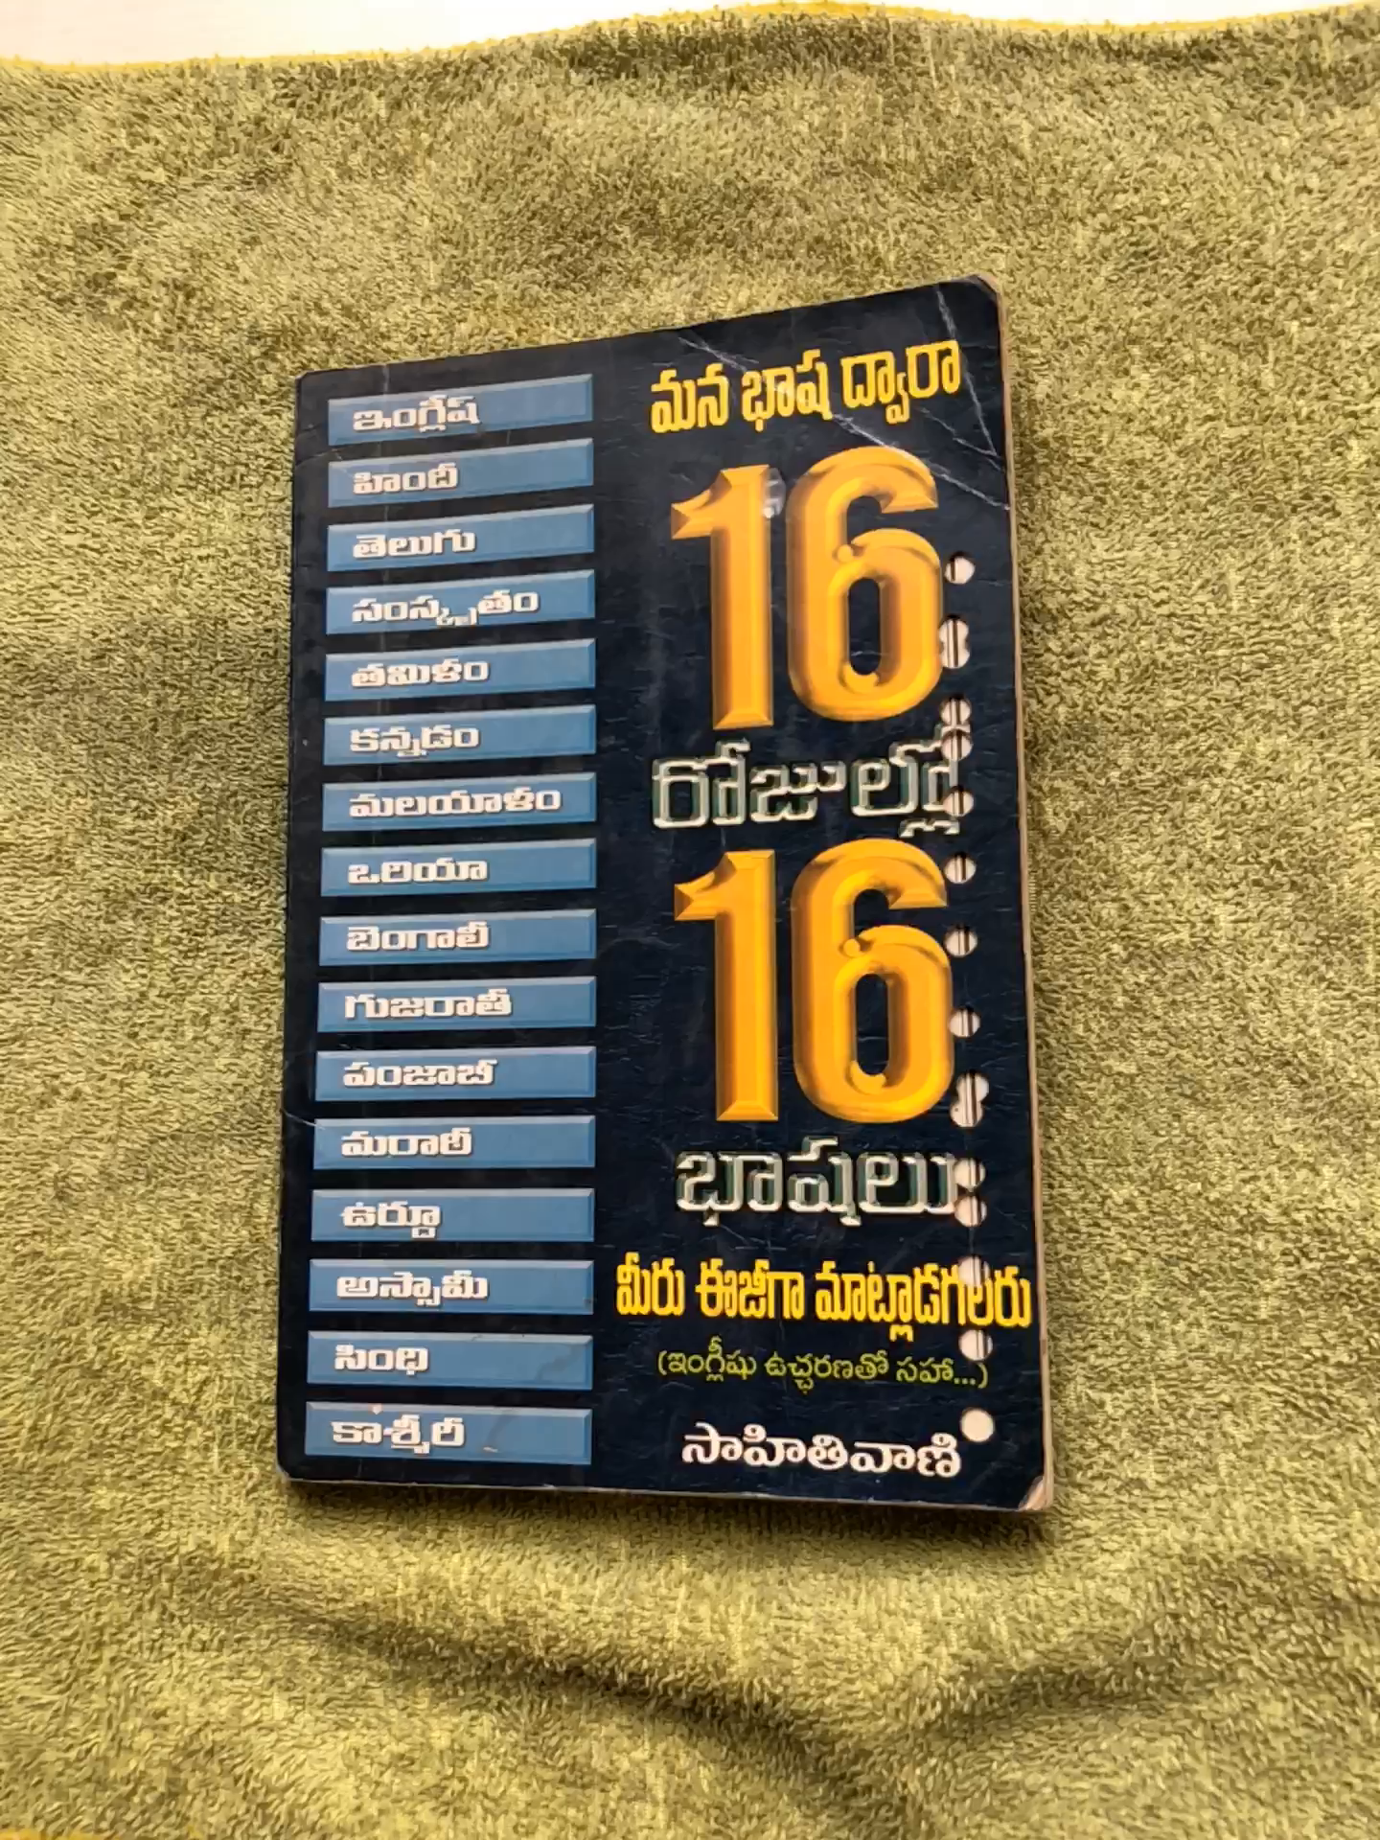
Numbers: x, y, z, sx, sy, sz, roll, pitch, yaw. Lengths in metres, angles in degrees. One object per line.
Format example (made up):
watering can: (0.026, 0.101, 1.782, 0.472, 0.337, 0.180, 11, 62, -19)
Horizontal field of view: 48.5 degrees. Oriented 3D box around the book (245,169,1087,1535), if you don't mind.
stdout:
book: (-0.006, -0.013, 0.275, 0.140, 0.030, 0.220, -2, 83, 14)
